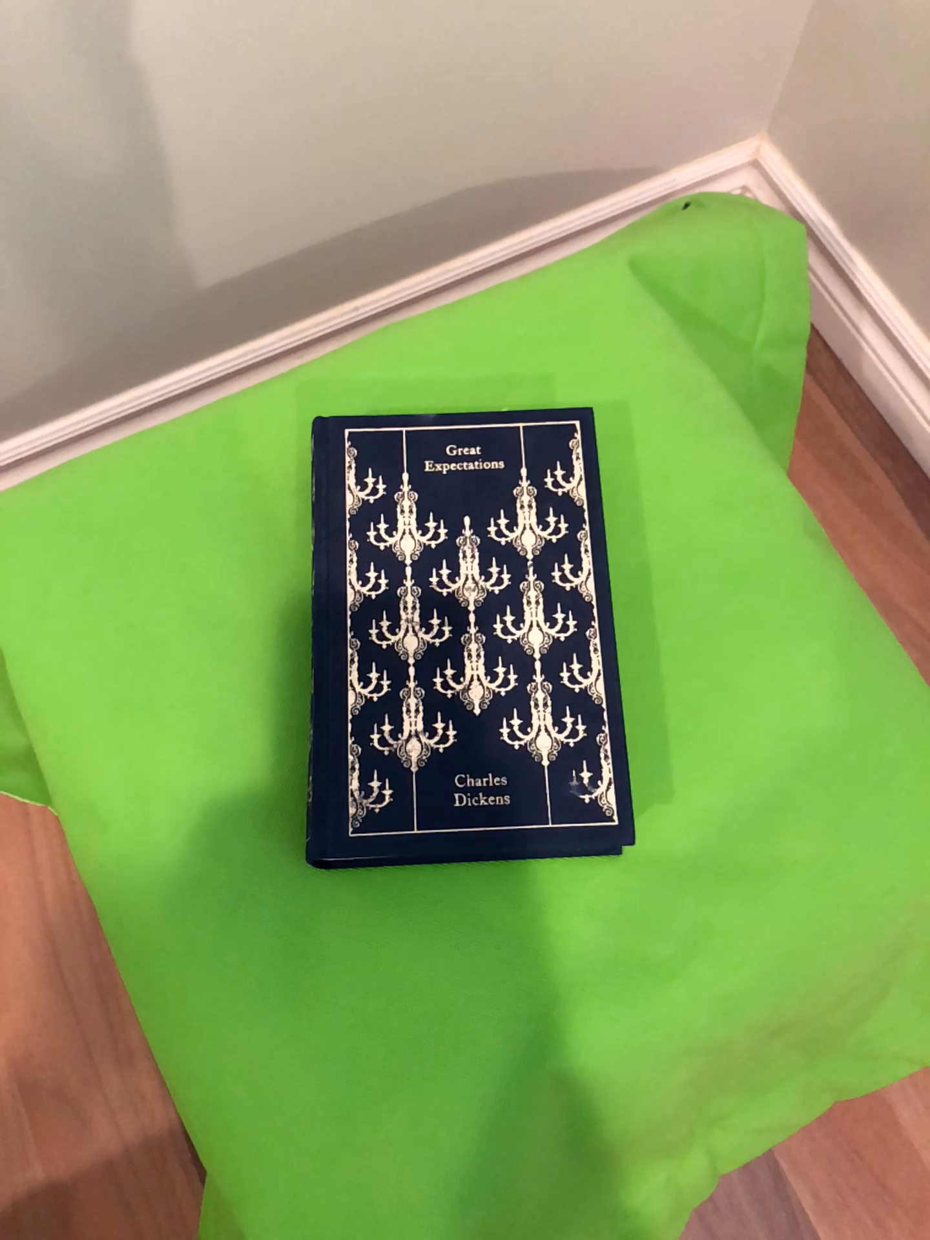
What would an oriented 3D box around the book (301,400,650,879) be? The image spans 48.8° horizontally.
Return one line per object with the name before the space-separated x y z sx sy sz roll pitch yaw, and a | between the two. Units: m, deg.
book | -0.001 0.005 0.466 0.140 0.040 0.210 -2 70 -1
